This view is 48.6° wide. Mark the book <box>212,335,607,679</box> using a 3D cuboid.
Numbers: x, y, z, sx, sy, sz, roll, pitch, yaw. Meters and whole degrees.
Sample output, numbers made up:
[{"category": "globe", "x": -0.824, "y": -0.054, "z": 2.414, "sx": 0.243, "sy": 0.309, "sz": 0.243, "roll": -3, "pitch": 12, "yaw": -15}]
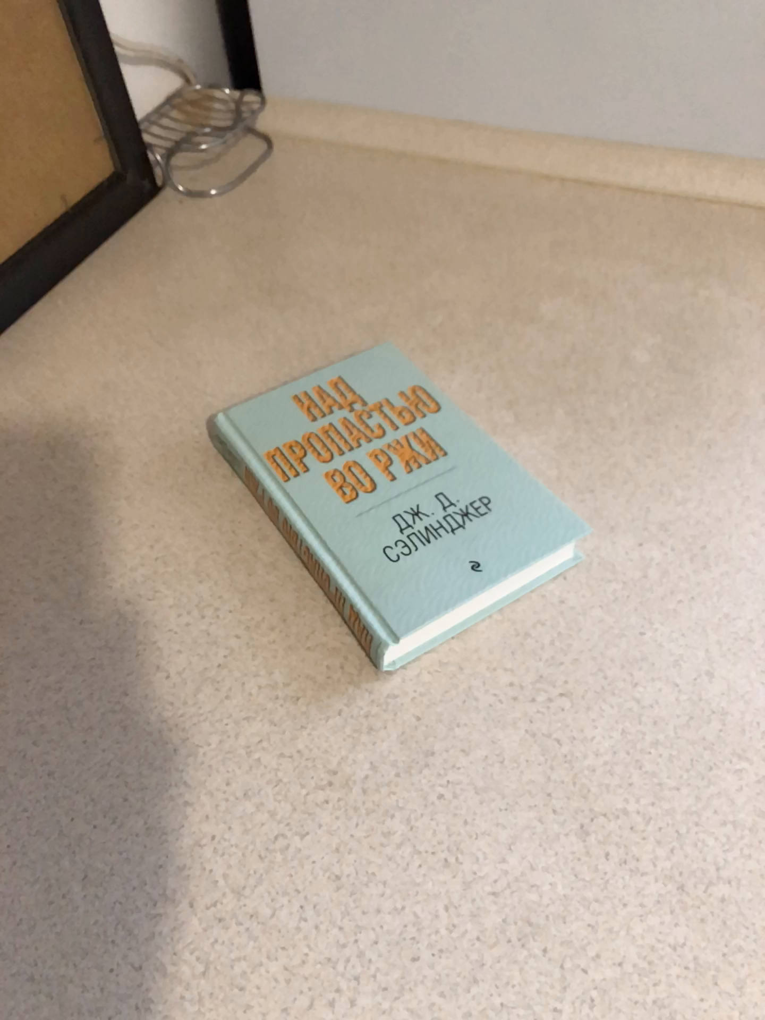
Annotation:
[{"category": "book", "x": 0.006, "y": -0.014, "z": 0.419, "sx": 0.115, "sy": 0.020, "sz": 0.176, "roll": -27, "pitch": 52, "yaw": -19}]
